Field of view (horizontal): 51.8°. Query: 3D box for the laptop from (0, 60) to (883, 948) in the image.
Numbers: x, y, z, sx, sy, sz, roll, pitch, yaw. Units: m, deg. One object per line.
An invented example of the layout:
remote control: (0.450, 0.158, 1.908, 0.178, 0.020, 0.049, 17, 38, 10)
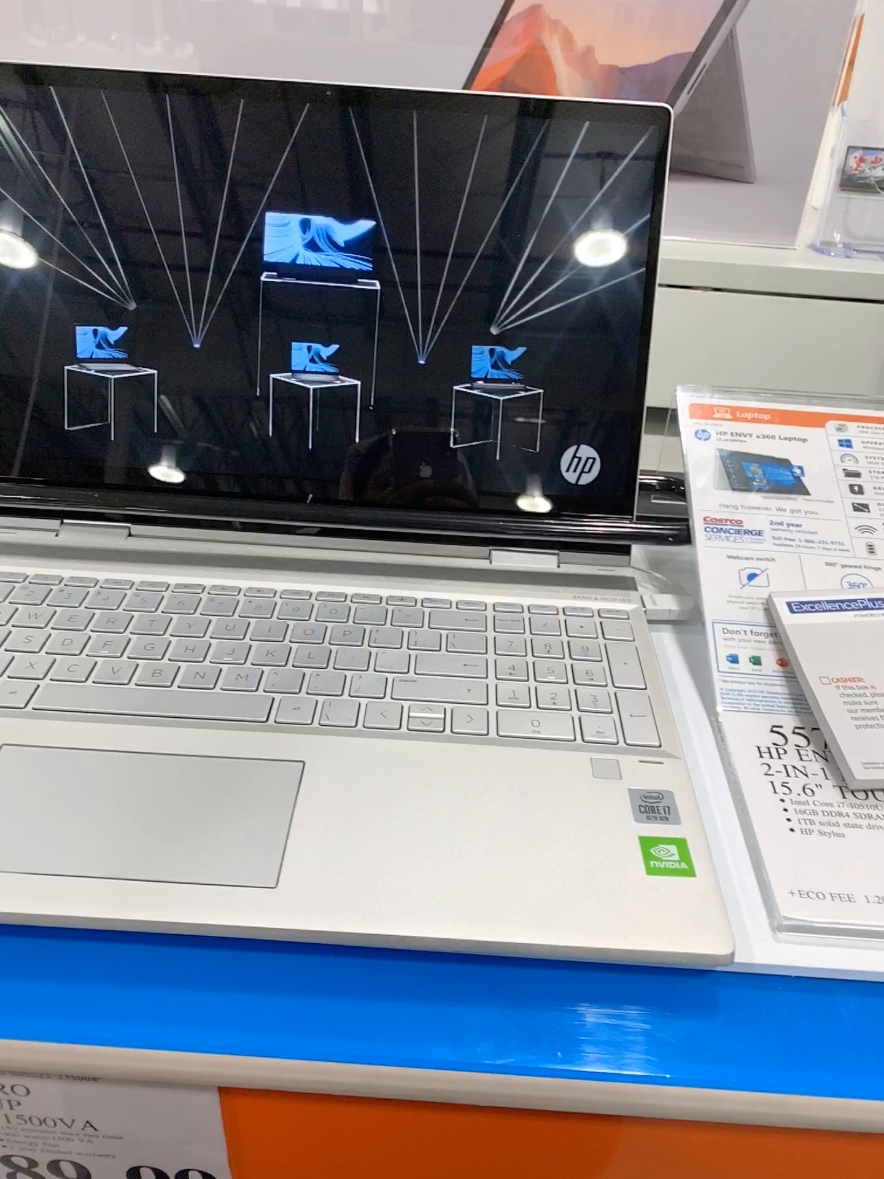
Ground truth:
laptop: (-0.069, -0.075, 0.374, 0.346, 0.210, 0.341, 3, 33, -1)
